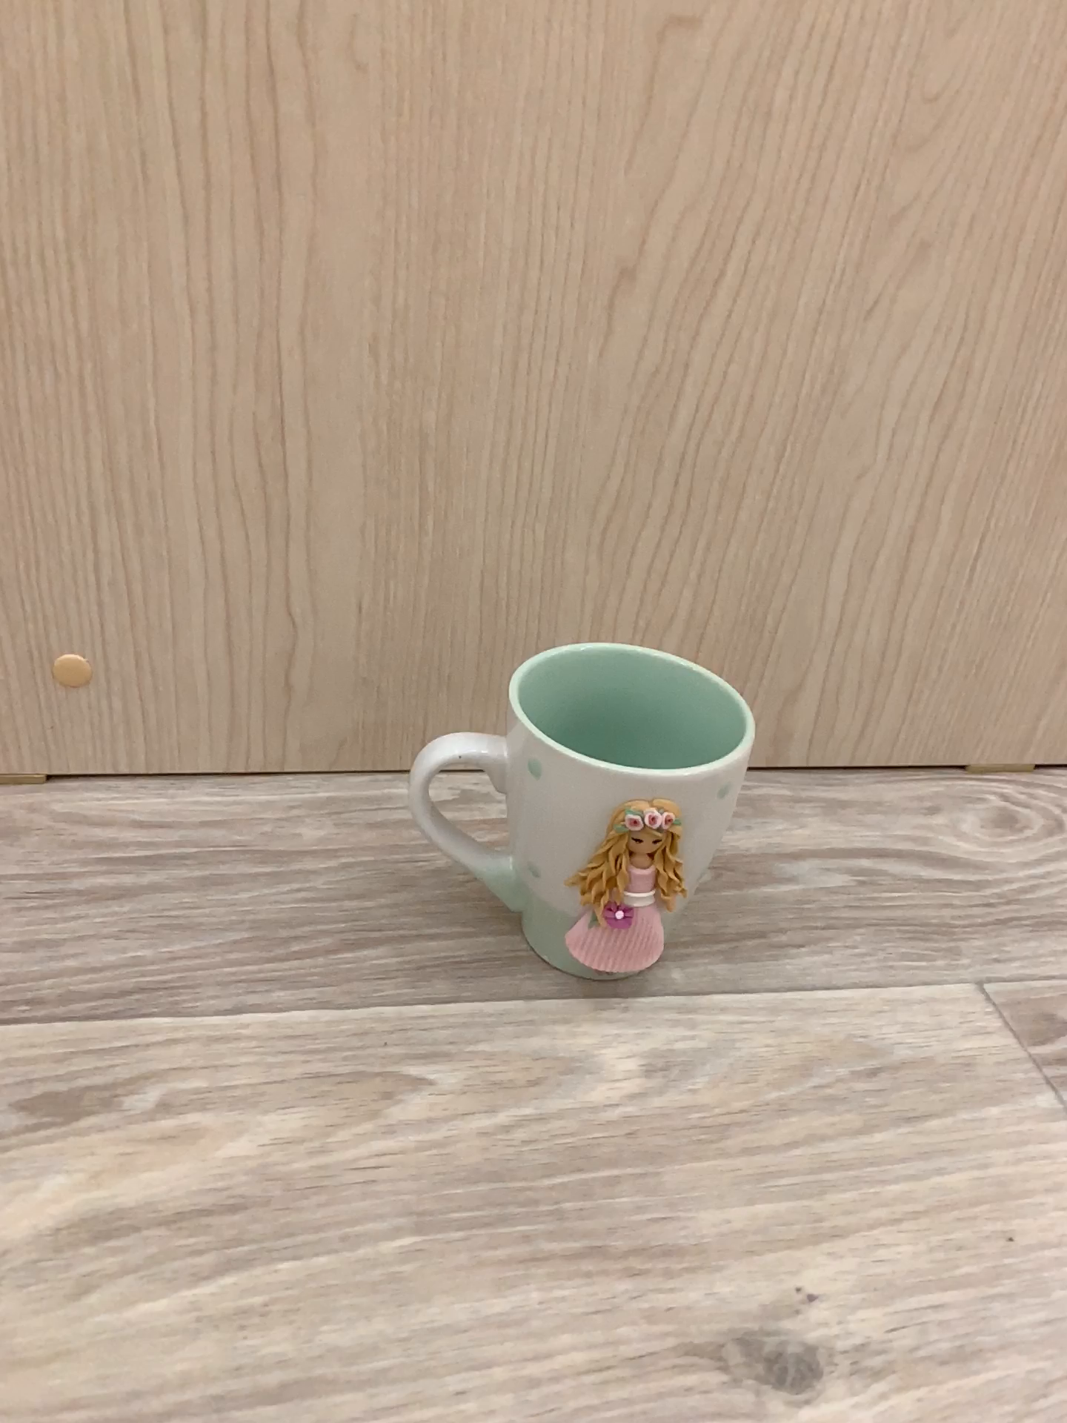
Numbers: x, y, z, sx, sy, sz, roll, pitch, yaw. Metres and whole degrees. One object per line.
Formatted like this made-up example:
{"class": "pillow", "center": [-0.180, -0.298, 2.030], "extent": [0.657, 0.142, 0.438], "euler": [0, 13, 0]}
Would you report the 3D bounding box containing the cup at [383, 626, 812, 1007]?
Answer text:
{"class": "cup", "center": [0.011, 0.030, 0.358], "extent": [0.111, 0.080, 0.093], "euler": [1, 30, -12]}
